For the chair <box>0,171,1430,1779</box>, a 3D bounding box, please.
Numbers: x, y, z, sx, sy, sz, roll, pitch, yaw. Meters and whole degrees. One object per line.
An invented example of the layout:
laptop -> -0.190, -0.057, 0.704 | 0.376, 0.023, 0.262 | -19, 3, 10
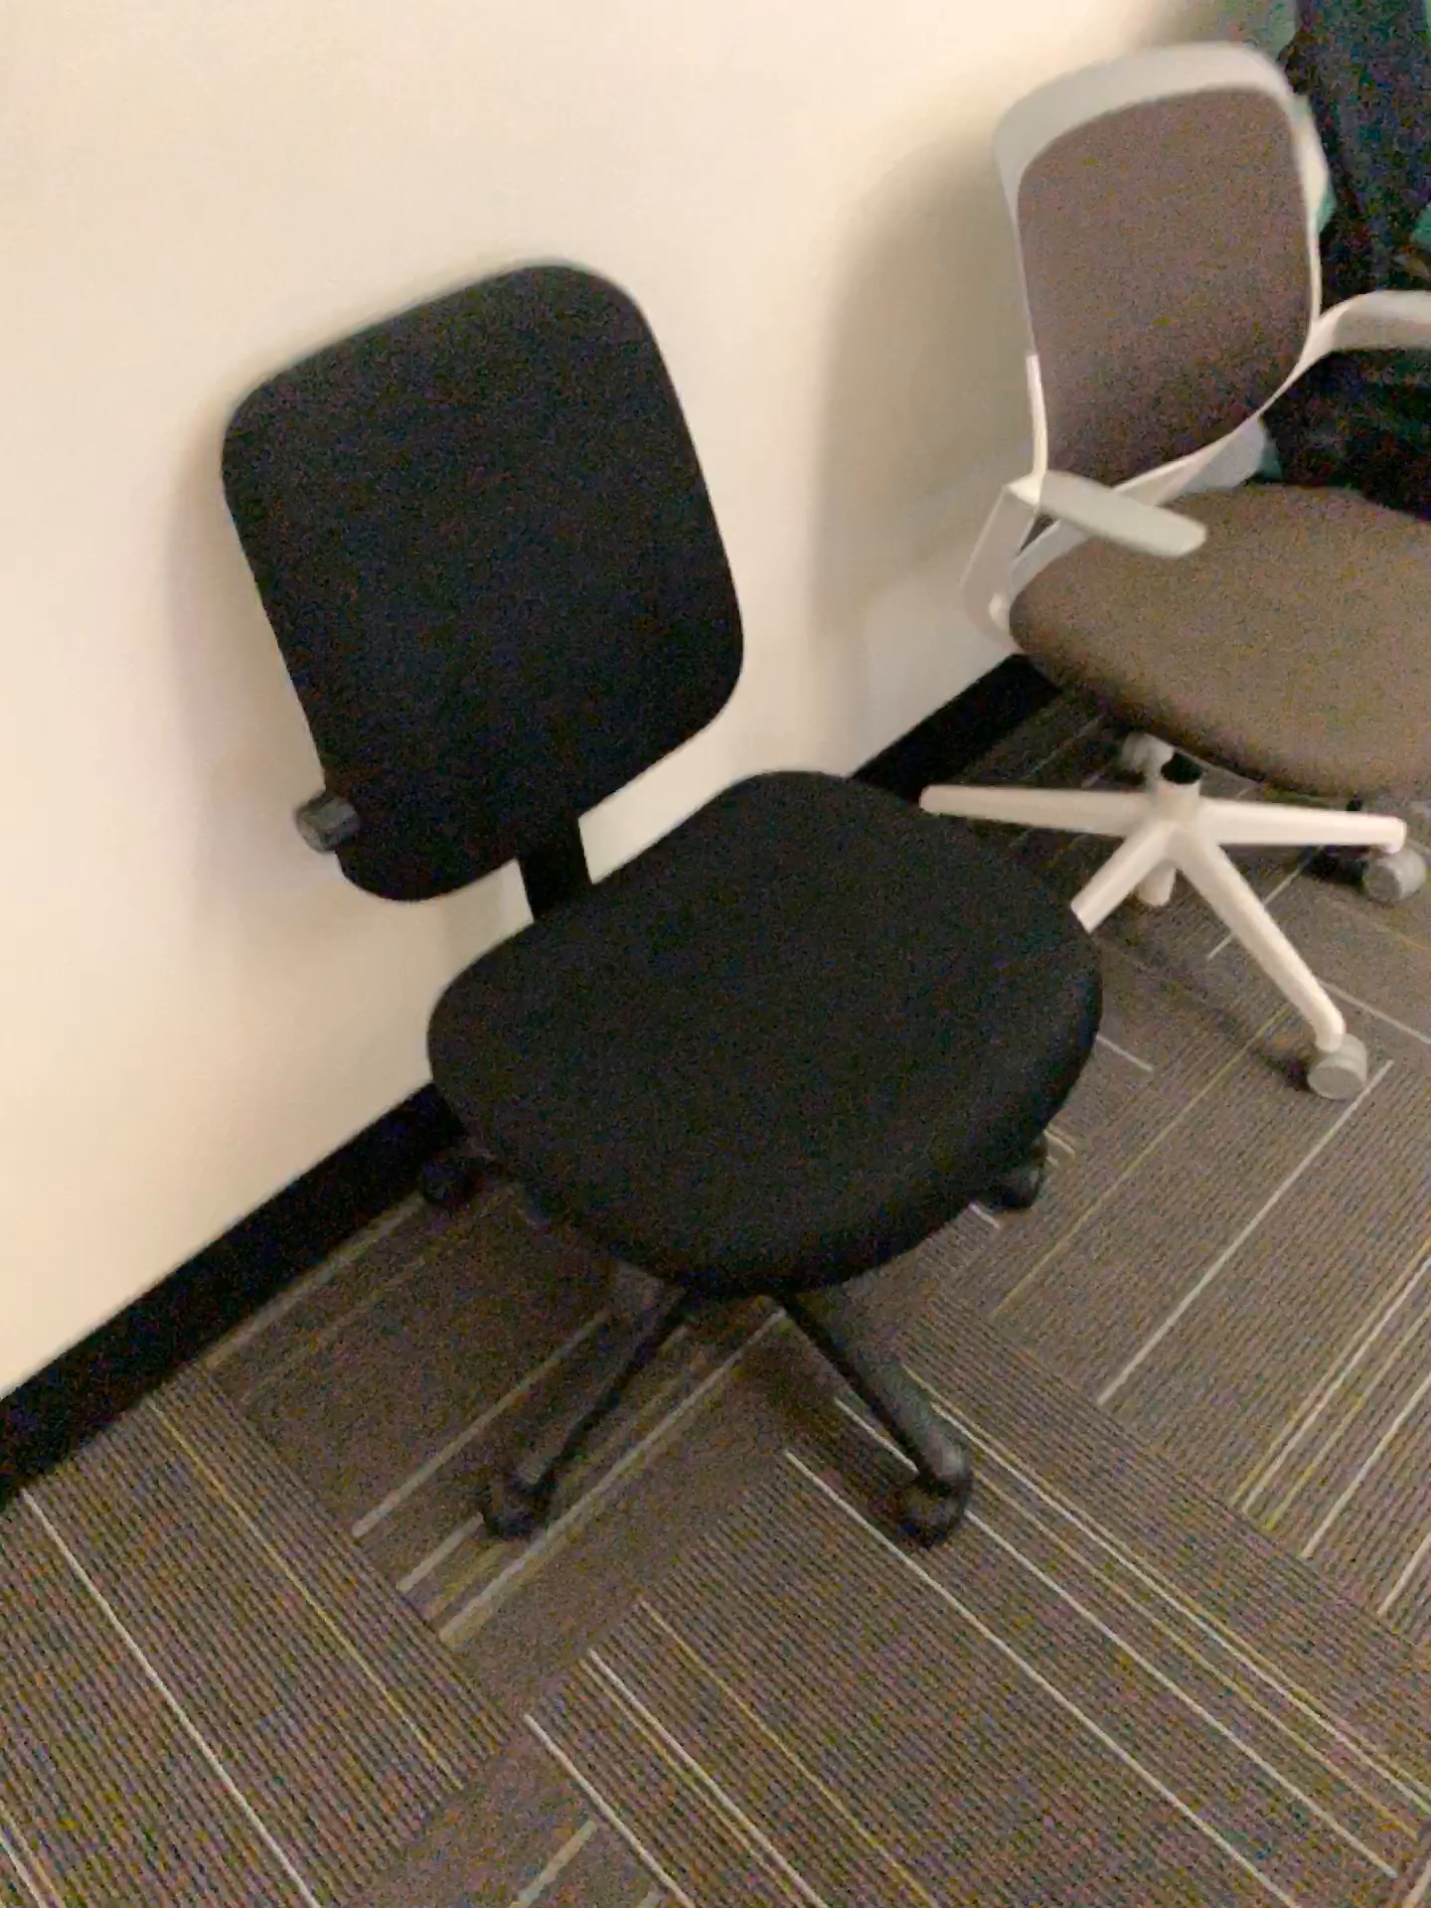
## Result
chair -> -0.007, 0.025, 1.293 | 0.743, 0.995, 0.681 | 33, 57, 30
